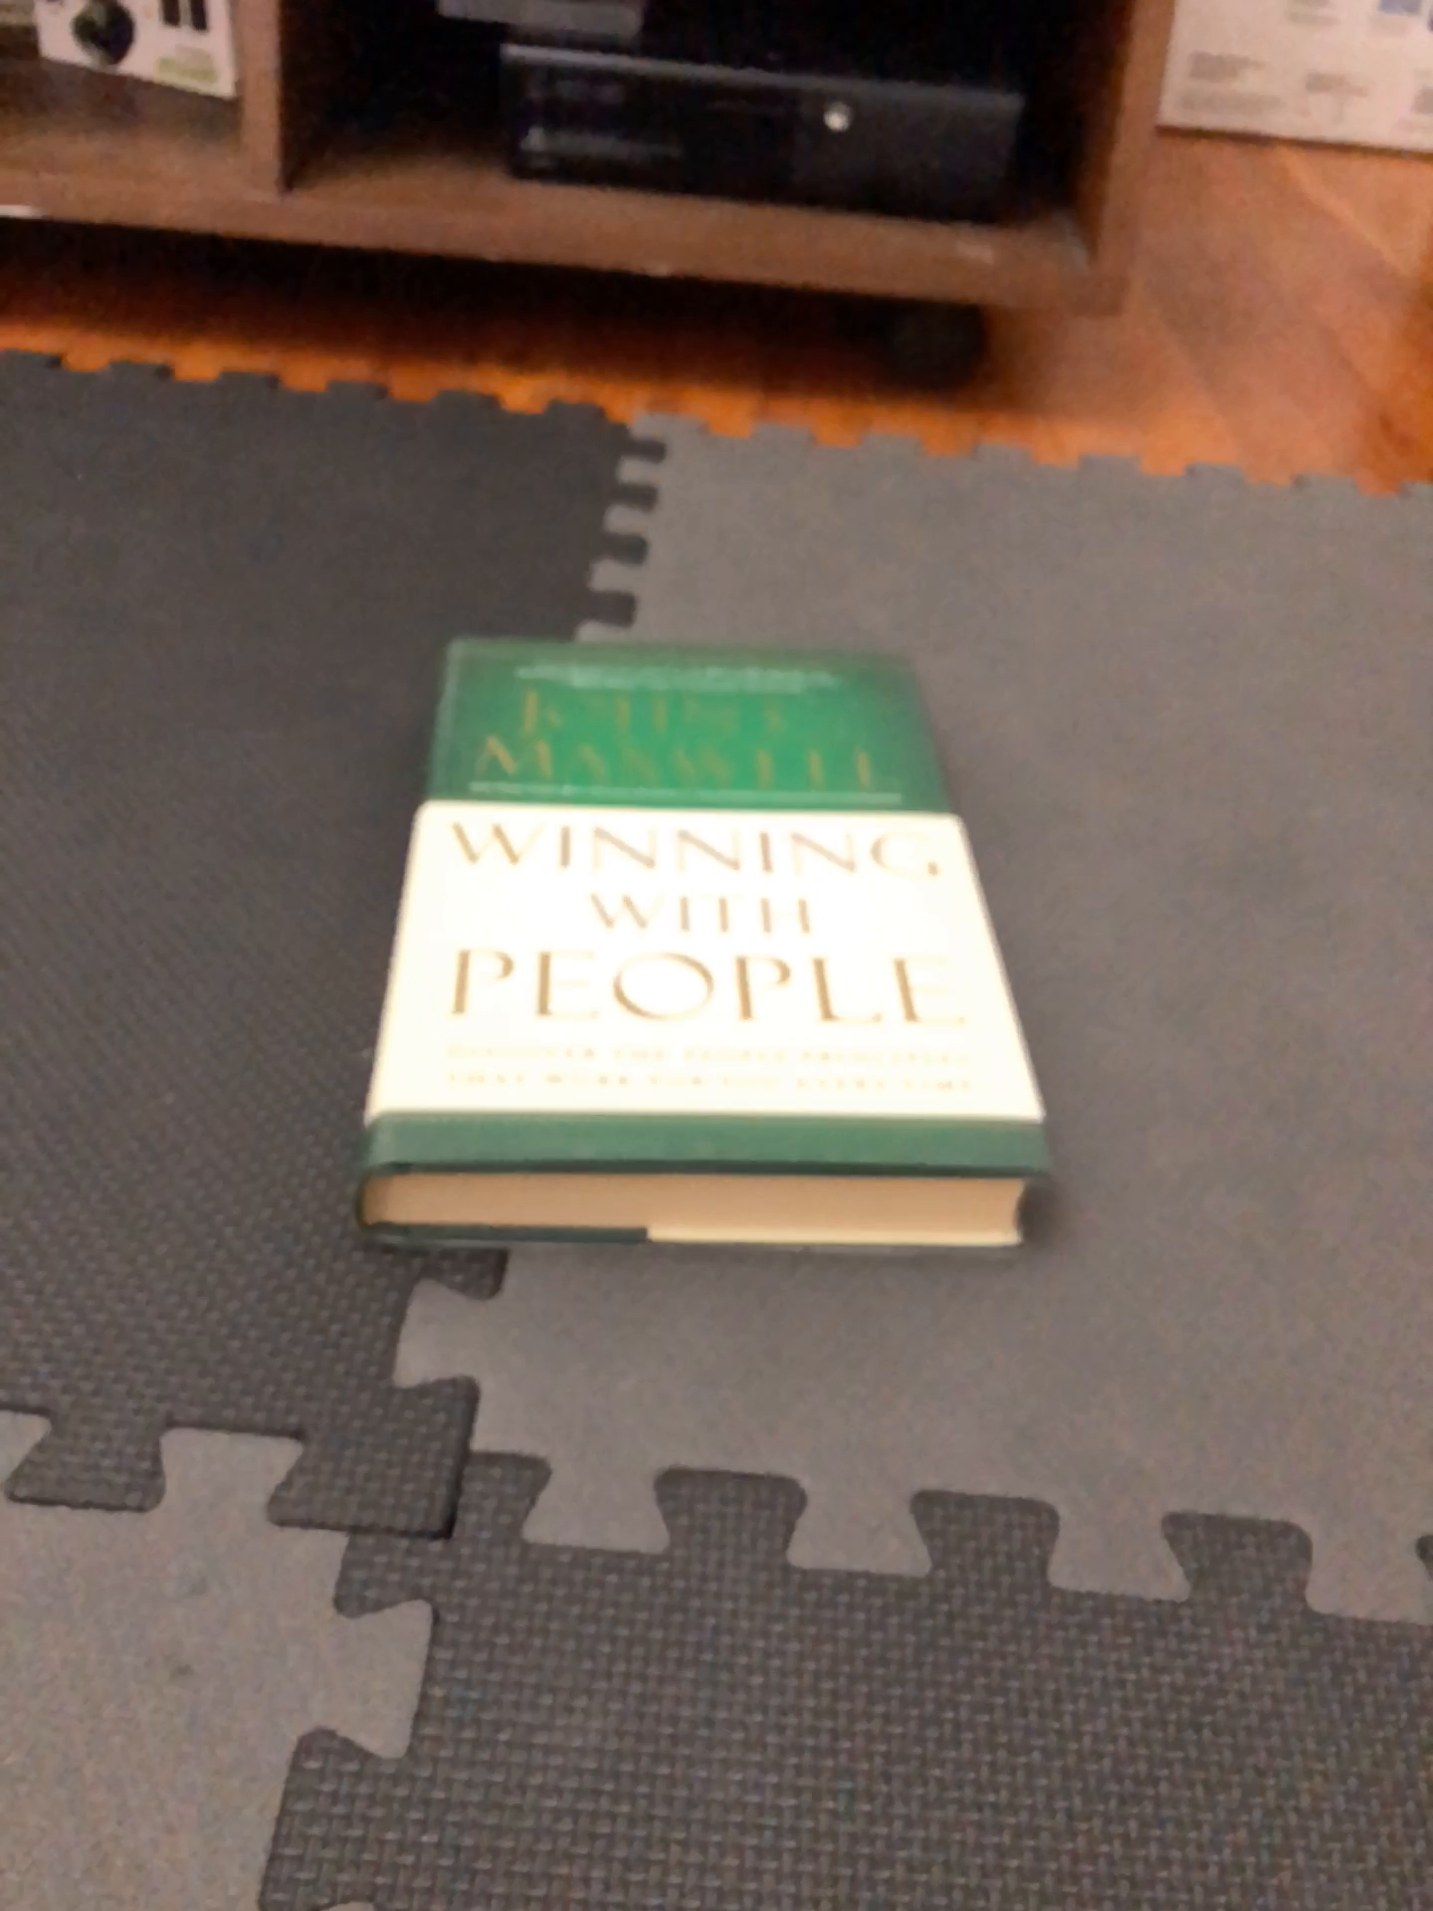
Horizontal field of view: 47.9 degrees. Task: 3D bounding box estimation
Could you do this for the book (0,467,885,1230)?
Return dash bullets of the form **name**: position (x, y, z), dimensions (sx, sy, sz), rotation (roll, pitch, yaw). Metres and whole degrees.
- **book**: position (-0.070, -0.052, 0.429), dimensions (0.200, 0.030, 0.292), rotation (3, 39, -3)
